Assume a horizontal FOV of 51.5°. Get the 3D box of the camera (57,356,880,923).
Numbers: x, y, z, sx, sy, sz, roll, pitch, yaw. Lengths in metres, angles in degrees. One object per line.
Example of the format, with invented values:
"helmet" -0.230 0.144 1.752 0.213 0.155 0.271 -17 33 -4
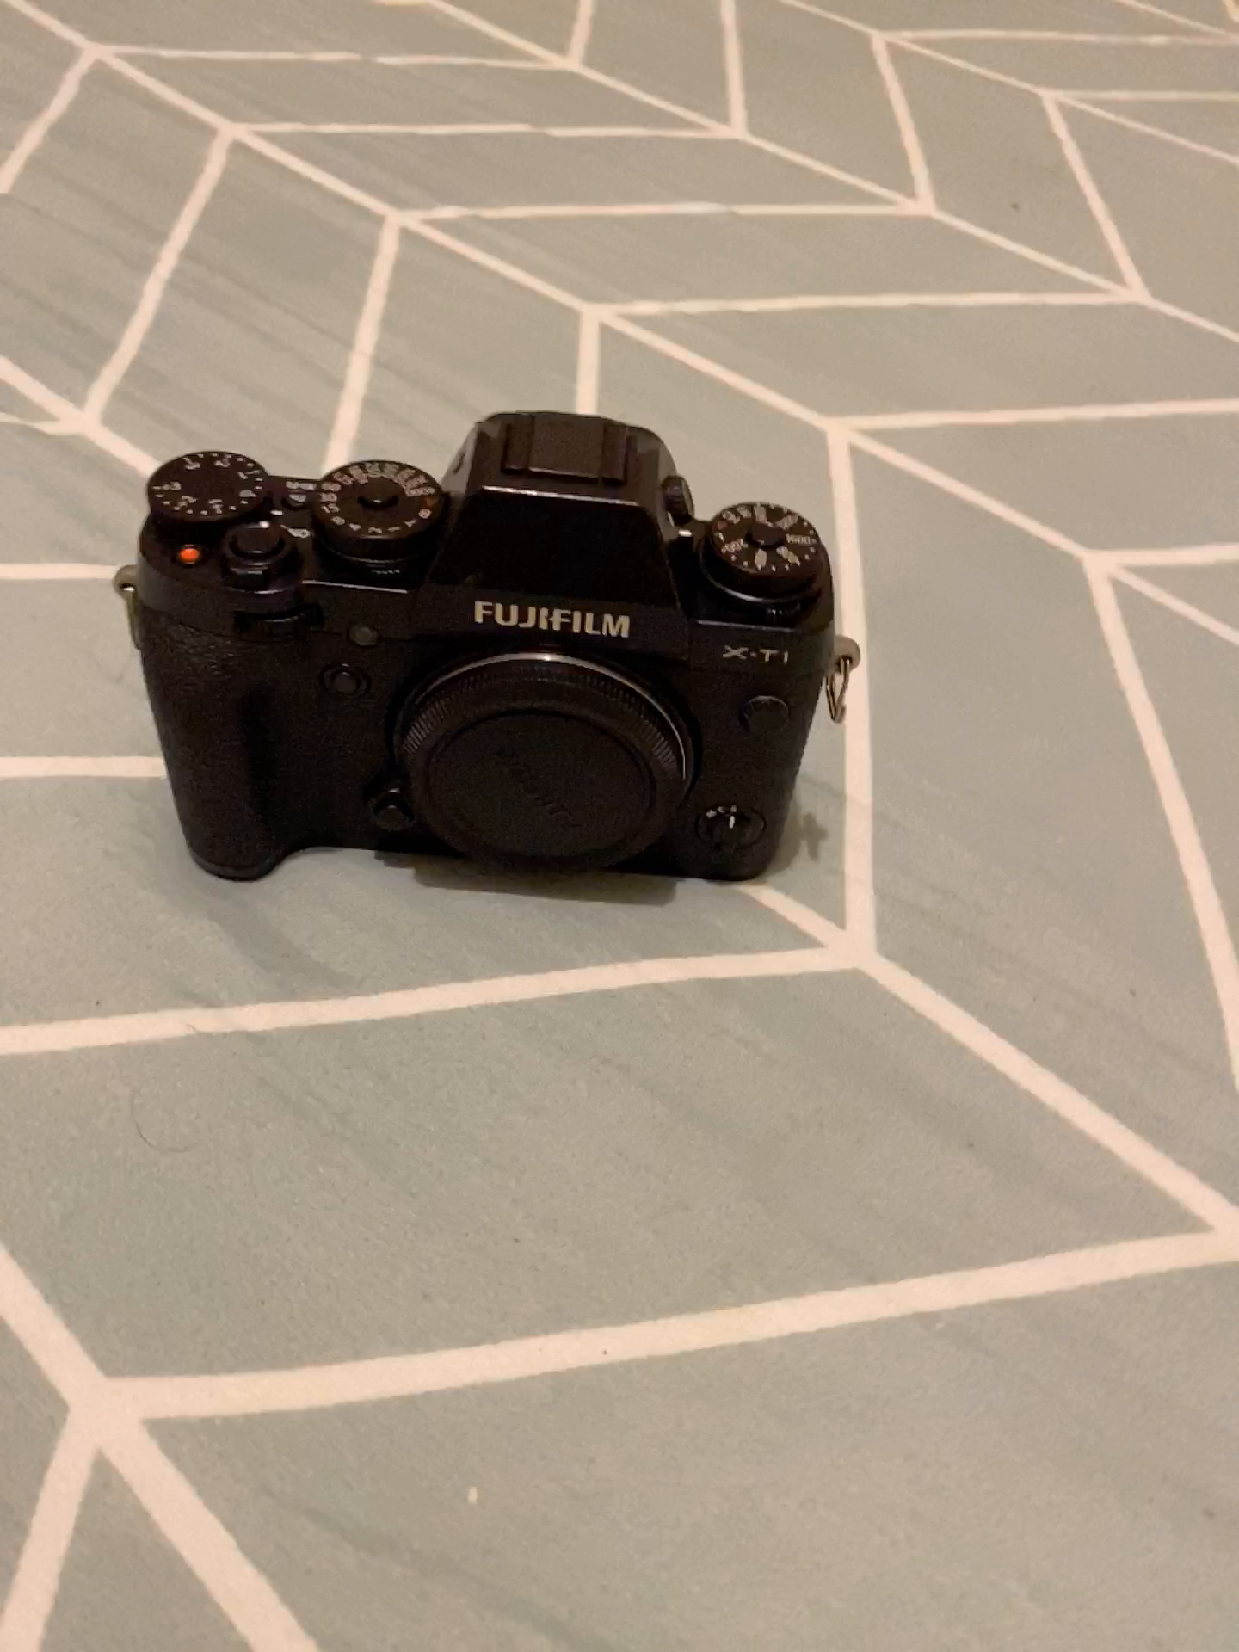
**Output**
"camera" -0.025 -0.033 0.252 0.130 0.087 0.052 5 49 -2
